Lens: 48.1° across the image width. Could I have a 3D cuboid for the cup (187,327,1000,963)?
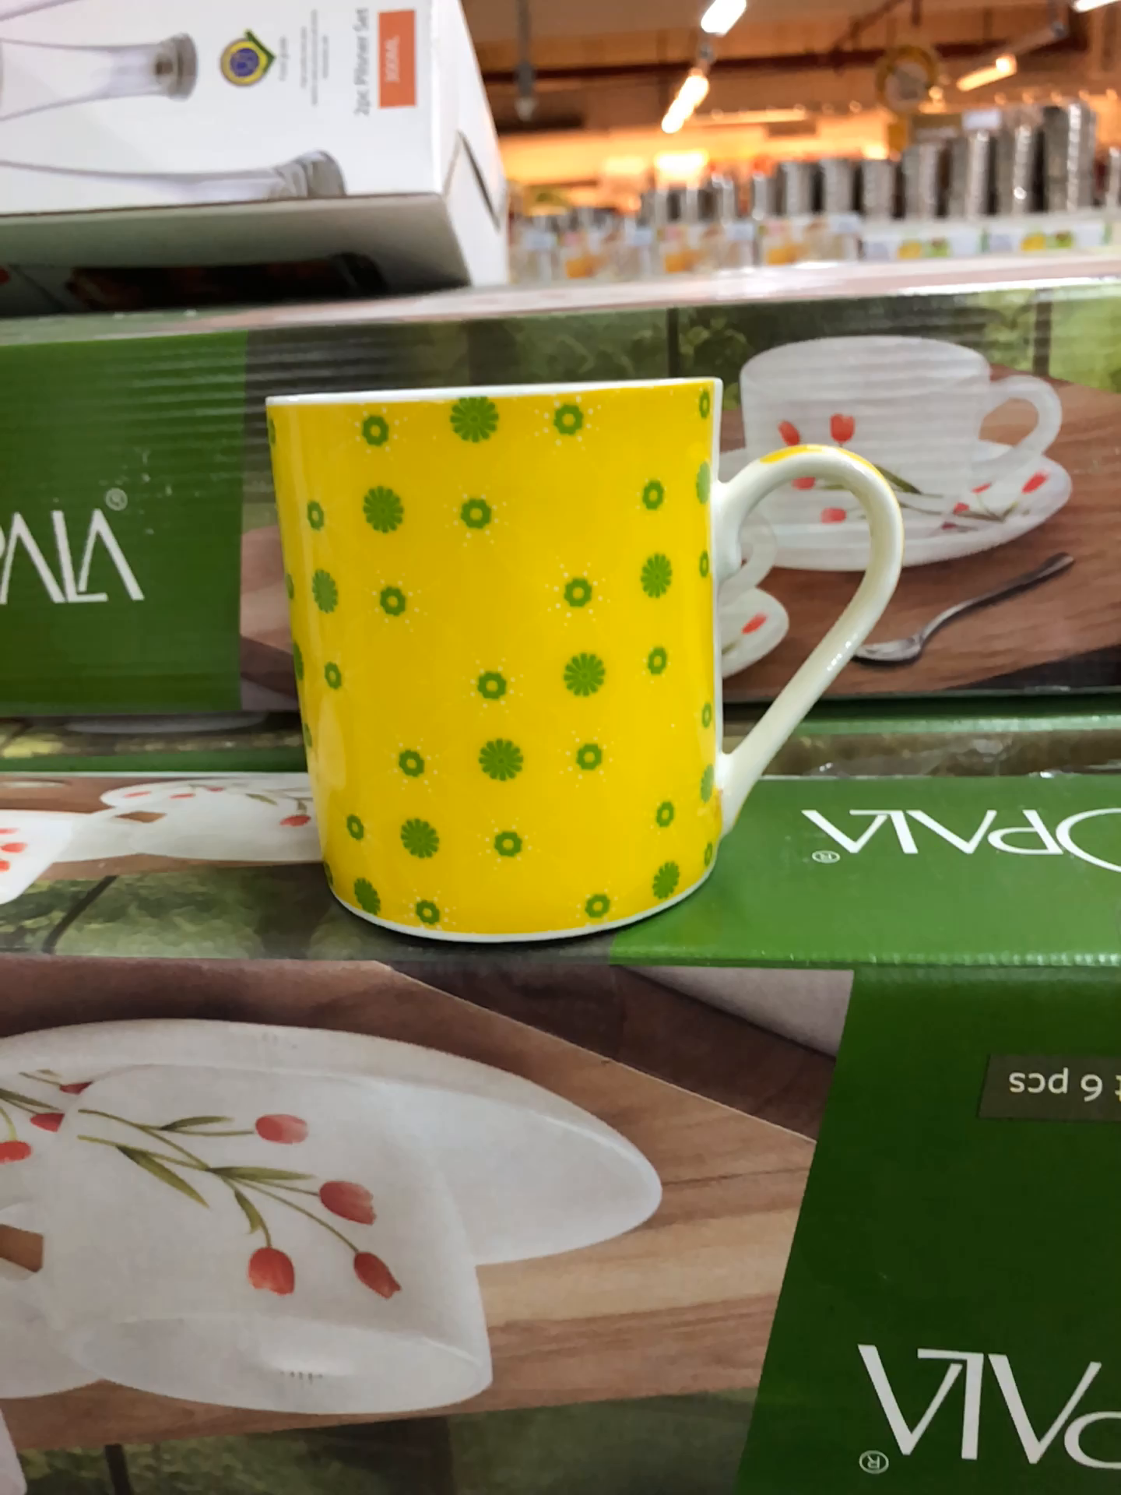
[{"bbox_3d":[0.009,-0.021,0.219,0.110,0.090,0.080,-1,15,6],"label":"cup"}]
